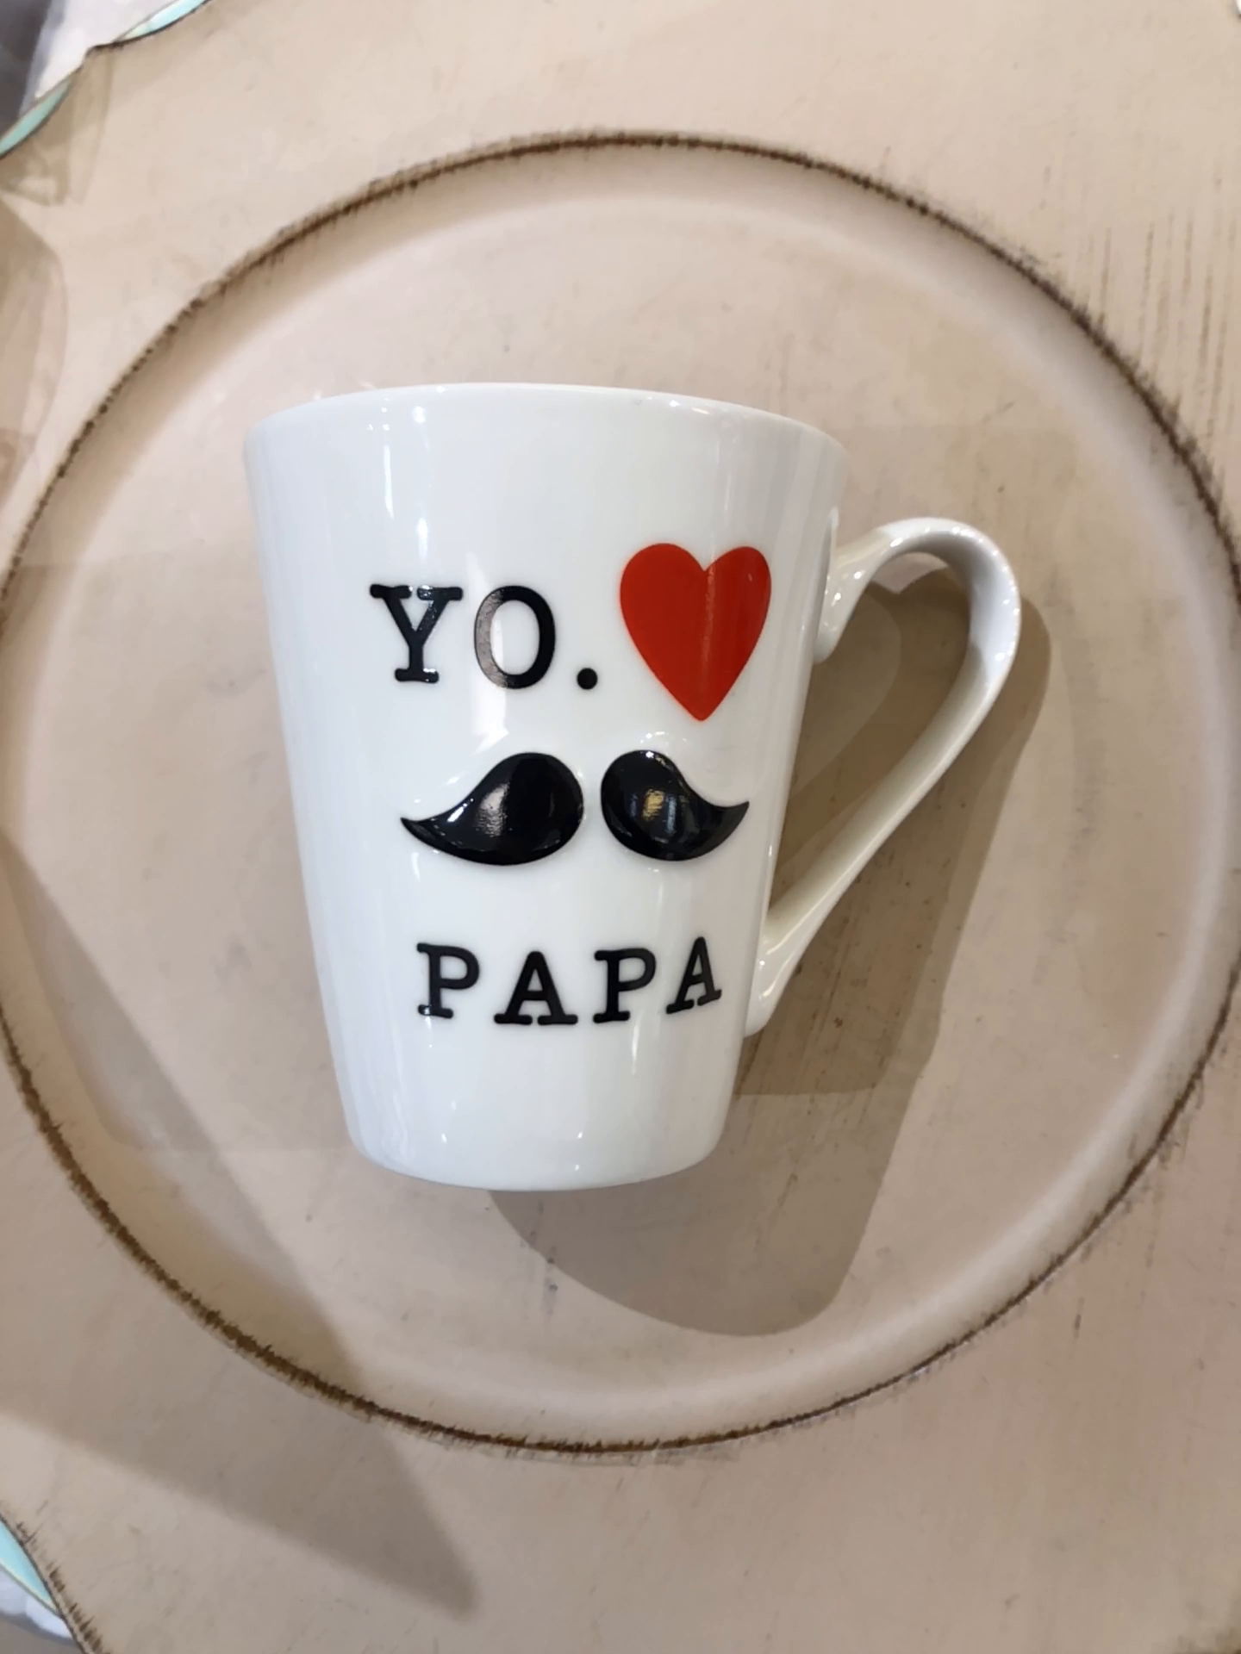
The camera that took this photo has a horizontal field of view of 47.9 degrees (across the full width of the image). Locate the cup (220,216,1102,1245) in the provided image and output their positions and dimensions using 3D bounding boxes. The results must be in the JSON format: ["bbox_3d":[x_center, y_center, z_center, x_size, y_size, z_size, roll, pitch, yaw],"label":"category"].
[{"bbox_3d":[-0.003,-0.014,0.218,0.110,0.090,0.120,-1,96,-12],"label":"cup"}]
